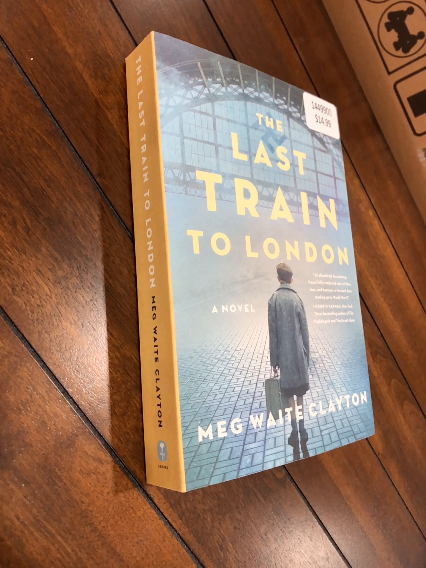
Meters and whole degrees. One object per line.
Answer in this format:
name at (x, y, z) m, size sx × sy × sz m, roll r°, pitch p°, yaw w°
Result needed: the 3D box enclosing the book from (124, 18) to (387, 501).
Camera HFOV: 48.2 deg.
book at (0.029, -0.012, 0.275) m, size 0.152 × 0.041 × 0.220 m, roll 3°, pitch 80°, yaw -37°
